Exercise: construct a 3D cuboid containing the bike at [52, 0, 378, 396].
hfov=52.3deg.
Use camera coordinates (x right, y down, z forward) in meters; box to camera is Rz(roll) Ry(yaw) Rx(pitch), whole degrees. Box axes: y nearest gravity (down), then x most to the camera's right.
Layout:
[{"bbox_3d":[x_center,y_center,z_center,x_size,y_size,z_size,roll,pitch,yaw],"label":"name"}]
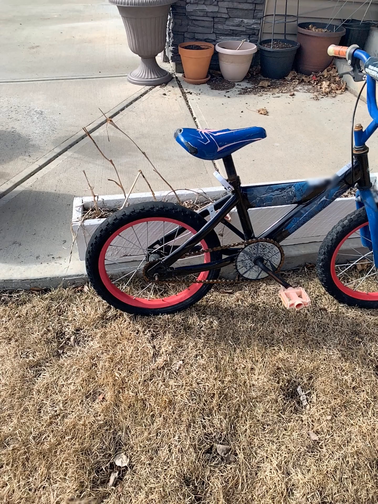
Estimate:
[{"bbox_3d":[0.248,-0.131,0.910,1.023,0.728,0.538,-3,40,-1],"label":"bike"}]
